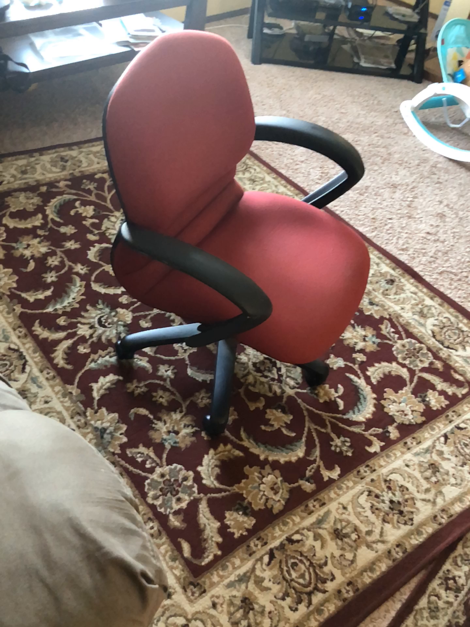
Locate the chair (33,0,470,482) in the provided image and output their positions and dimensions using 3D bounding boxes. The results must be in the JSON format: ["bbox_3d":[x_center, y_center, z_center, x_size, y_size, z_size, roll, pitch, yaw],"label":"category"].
[{"bbox_3d":[0.054,-0.184,1.220,0.620,0.729,0.651,27,49,14],"label":"chair"}]
